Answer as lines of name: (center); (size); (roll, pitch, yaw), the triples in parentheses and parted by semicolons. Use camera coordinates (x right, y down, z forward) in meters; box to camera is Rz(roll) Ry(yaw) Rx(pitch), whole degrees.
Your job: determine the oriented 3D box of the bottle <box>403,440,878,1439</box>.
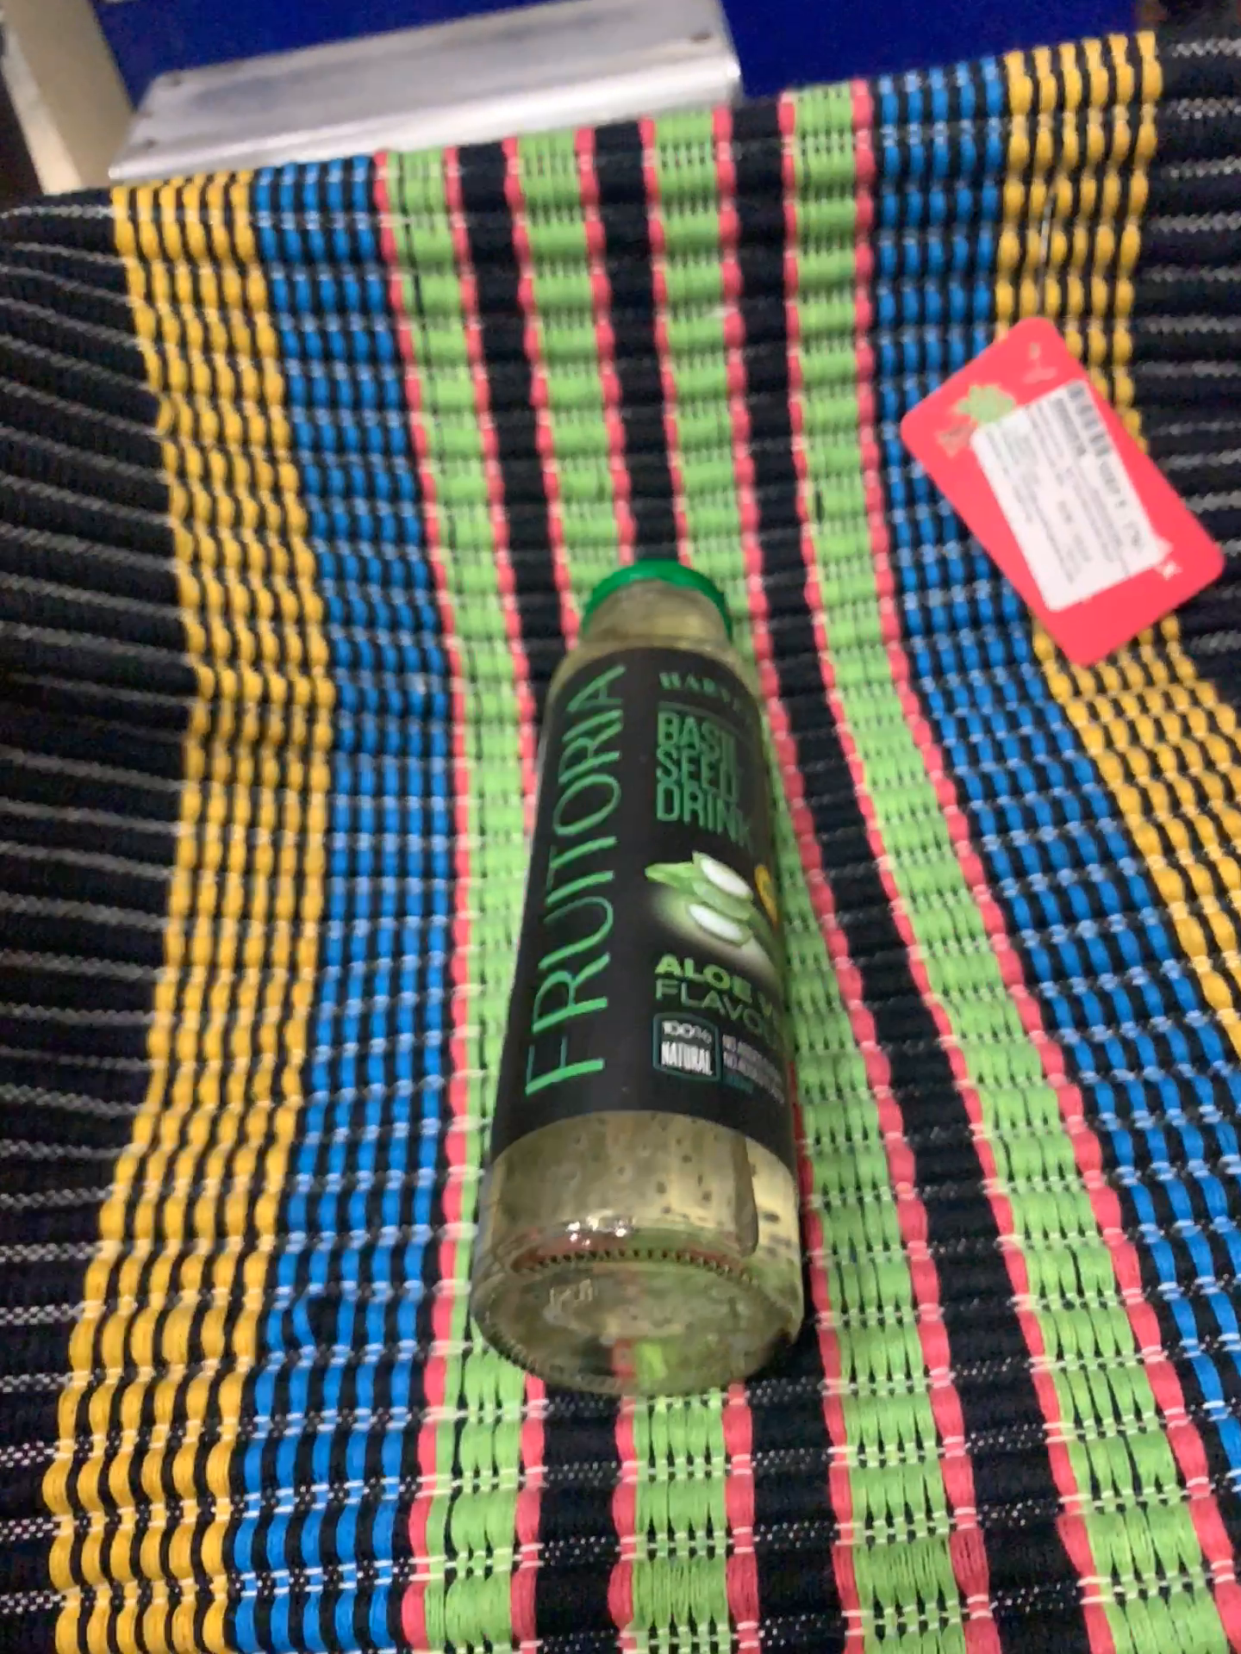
bottle: (0.007, 0.007, 0.267); (0.050, 0.060, 0.201); (22, 44, -17)
